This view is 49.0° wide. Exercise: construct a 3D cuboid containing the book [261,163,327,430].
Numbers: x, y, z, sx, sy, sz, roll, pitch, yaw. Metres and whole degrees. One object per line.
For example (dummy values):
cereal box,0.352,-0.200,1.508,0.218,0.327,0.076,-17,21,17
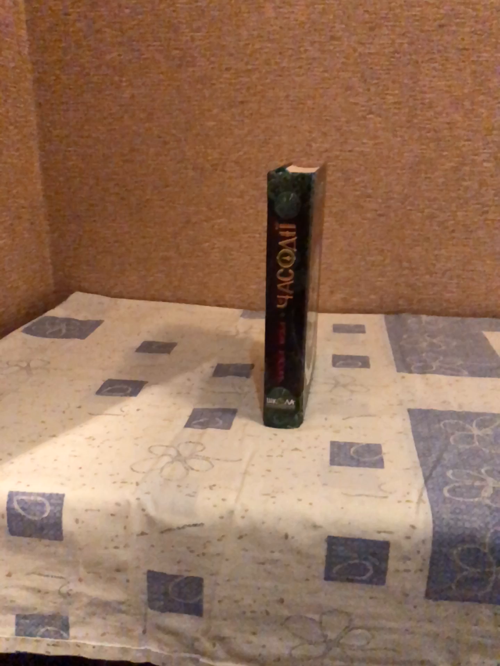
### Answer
book,0.045,-0.047,0.521,0.040,0.216,0.173,3,18,10
